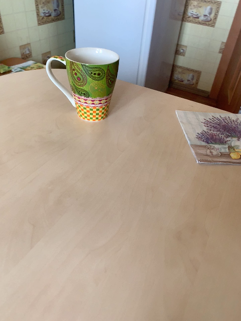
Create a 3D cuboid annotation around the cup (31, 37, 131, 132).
[{"bbox_3d":[-0.065,-0.142,0.451,0.130,0.109,0.110,17,41,14],"label":"cup"}]
